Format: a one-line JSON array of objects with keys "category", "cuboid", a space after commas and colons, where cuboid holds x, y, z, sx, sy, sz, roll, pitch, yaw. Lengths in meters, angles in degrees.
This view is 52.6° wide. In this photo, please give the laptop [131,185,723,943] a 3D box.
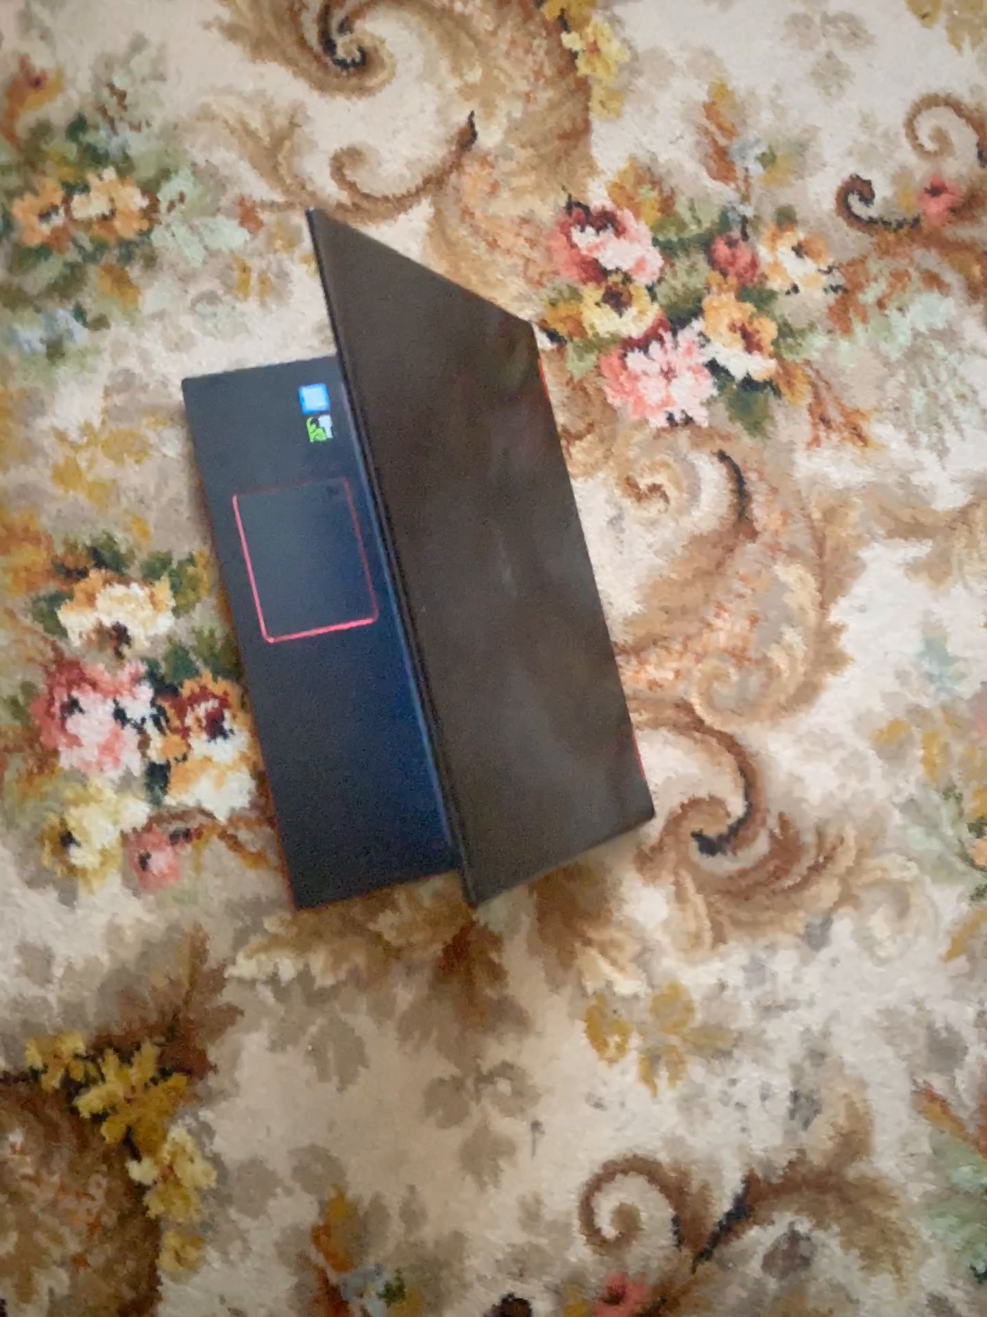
[{"category": "laptop", "cuboid": [-0.047, -0.049, 0.593, 0.224, 0.173, 0.356, -13, 85, -9]}]
